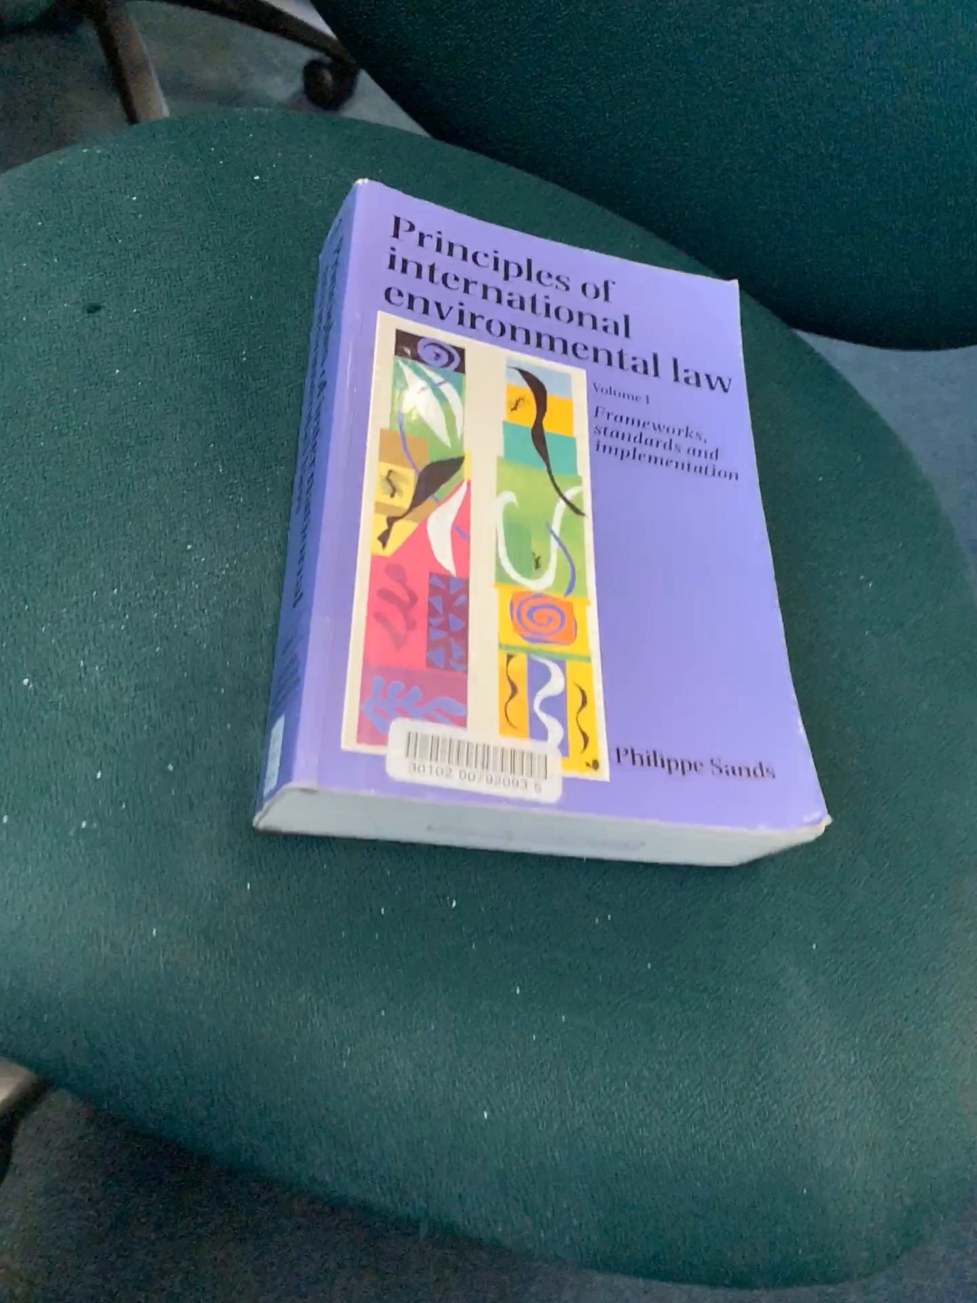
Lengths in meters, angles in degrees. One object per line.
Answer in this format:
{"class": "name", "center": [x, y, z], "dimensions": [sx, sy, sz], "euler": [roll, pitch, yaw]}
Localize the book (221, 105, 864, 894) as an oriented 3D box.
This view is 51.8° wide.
{"class": "book", "center": [0.016, -0.062, 0.357], "dimensions": [0.180, 0.050, 0.272], "euler": [9, 59, -17]}
